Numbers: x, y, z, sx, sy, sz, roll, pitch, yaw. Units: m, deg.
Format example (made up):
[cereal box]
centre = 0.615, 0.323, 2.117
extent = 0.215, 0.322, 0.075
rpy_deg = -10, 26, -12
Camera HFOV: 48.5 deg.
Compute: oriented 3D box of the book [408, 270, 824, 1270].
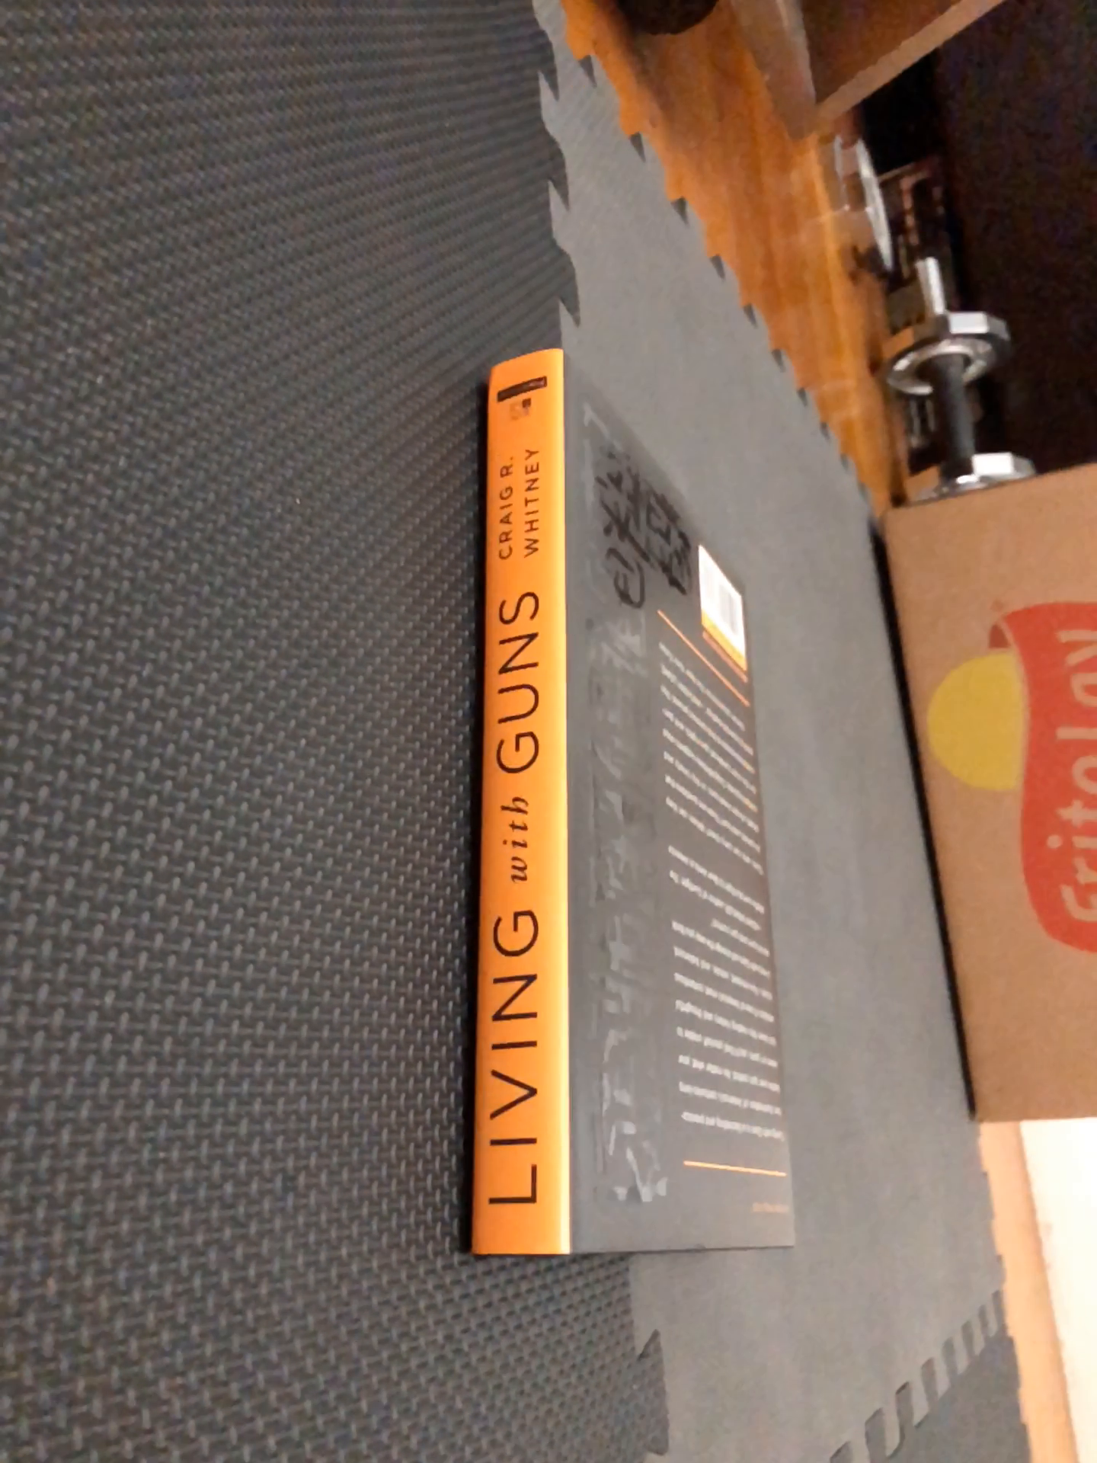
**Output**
[book]
centre = 0.027, 0.021, 0.373
extent = 0.171, 0.040, 0.260
rpy_deg = 36, 47, -54
